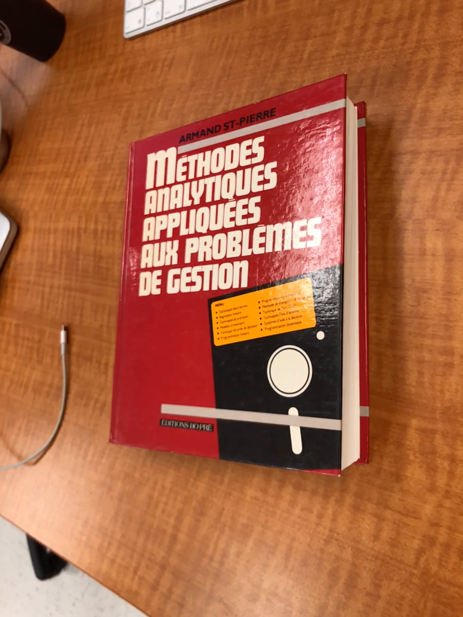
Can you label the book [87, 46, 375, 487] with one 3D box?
[{"bbox_3d":[-0.006,-0.023,0.364,0.201,0.050,0.250,-3,80,35],"label":"book"}]
